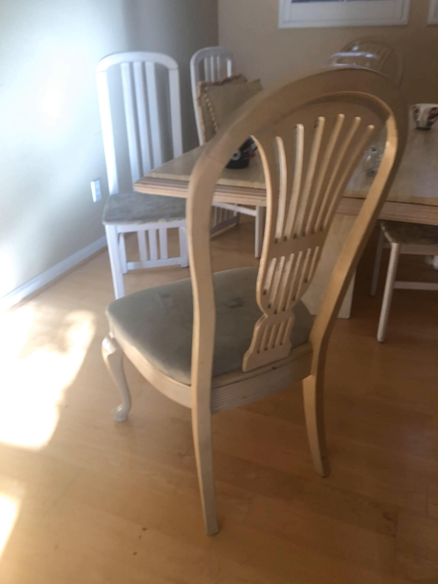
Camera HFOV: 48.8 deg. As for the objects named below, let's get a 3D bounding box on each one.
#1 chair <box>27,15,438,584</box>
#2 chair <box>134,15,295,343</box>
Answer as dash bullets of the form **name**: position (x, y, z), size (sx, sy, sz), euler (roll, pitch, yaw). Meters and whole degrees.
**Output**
- **chair**: position (-0.016, 0.021, 1.267), size (0.592, 1.289, 0.633), euler (-15, 33, -24)
- **chair**: position (-0.043, -0.570, 2.495), size (0.631, 1.449, 0.674), euler (-6, 26, -8)
